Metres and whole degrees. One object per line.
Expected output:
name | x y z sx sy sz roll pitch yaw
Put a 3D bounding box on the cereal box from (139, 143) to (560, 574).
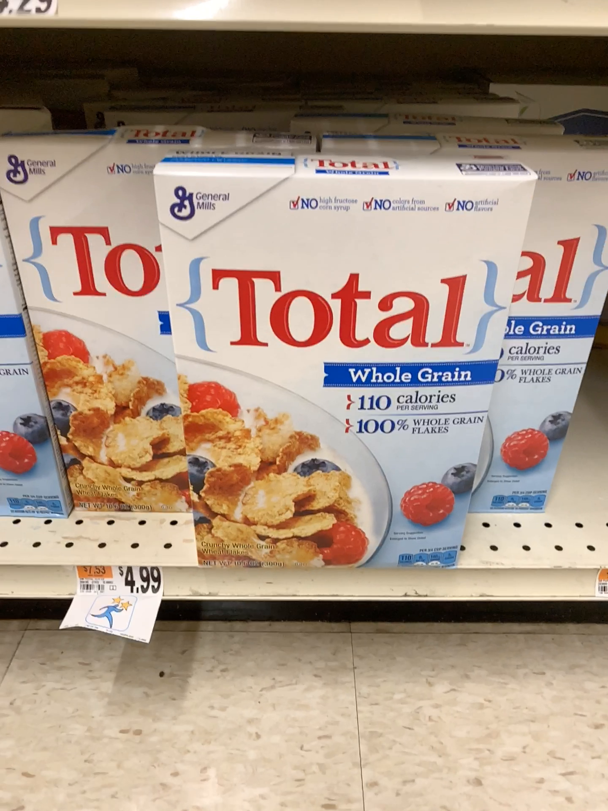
cereal box | 0.020 -0.011 0.393 0.200 0.278 0.050 1 33 0
